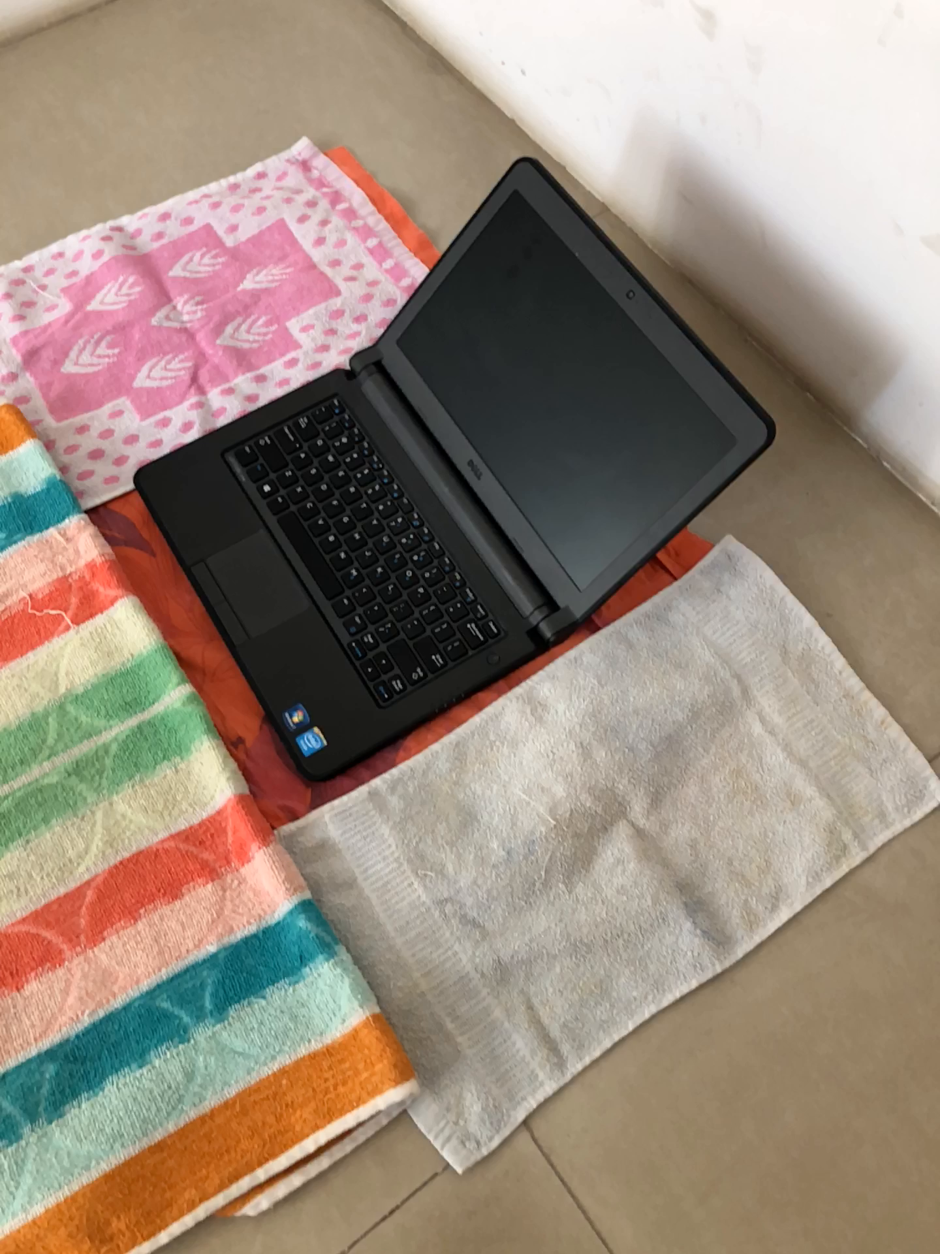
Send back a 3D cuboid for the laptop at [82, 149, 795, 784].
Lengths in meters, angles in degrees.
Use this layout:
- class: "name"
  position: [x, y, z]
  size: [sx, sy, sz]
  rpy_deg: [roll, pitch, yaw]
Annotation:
- class: "laptop"
  position: [-0.030, -0.131, 0.789]
  size: [0.392, 0.143, 0.314]
  rpy_deg: [-29, 68, -11]
